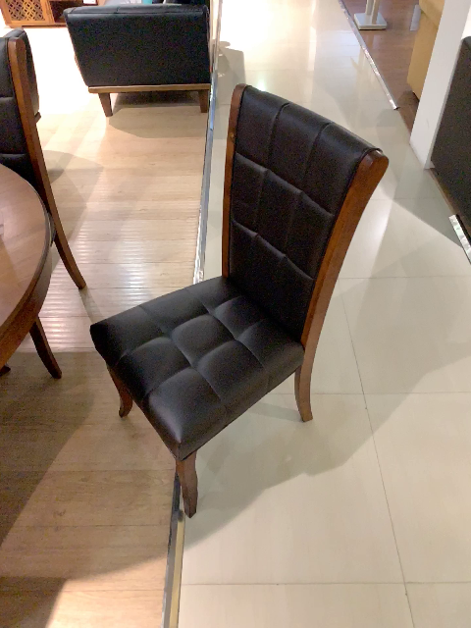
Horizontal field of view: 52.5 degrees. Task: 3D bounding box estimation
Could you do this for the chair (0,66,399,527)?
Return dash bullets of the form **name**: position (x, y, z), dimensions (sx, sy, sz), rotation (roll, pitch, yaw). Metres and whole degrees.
- **chair**: position (-0.078, -0.012, 1.268), dimensions (0.601, 0.936, 0.531), rotation (-30, 53, -24)
